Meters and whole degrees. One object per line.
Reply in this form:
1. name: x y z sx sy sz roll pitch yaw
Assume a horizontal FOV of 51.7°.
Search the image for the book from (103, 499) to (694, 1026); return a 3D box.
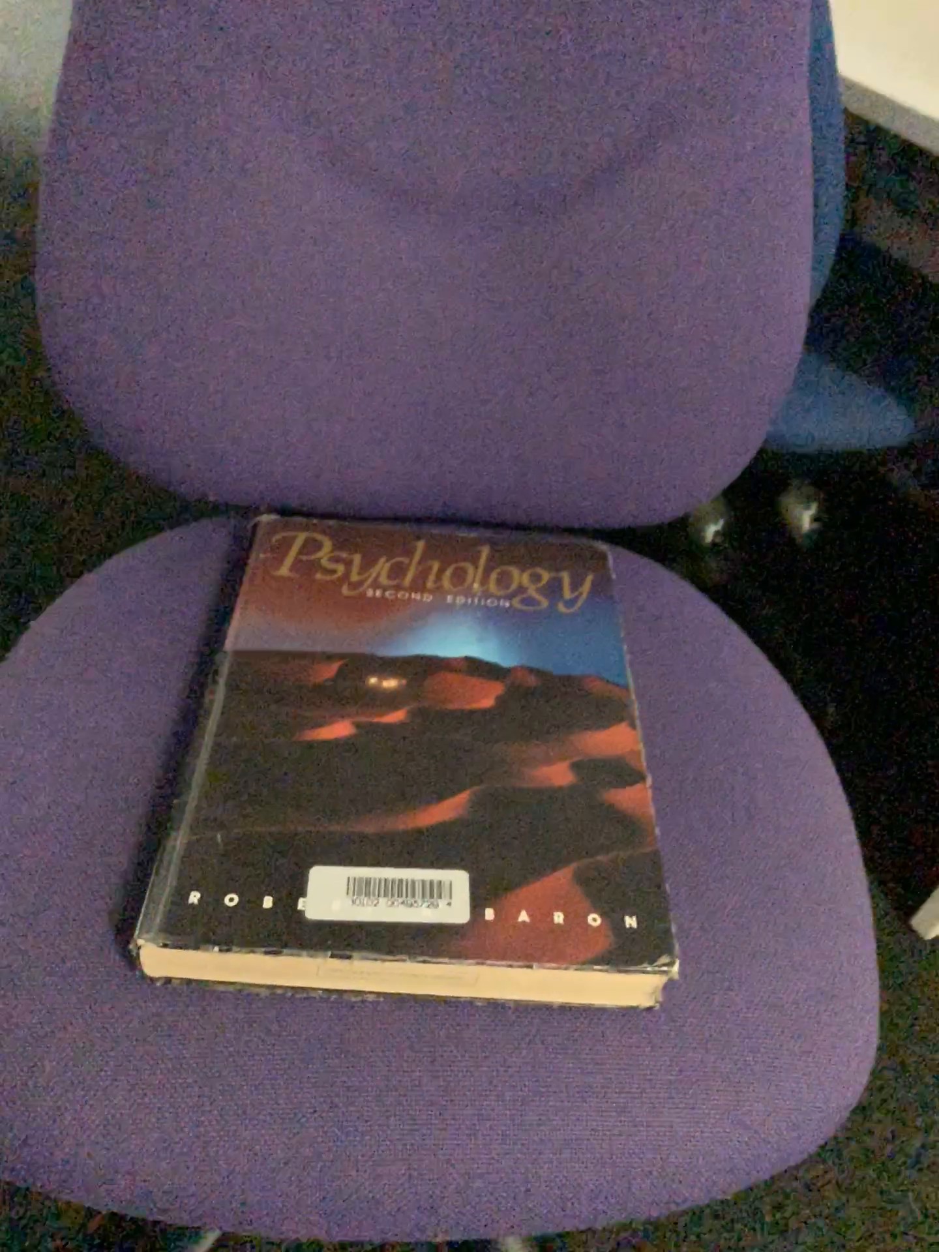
1. book: -0.026 0.047 0.492 0.230 0.040 0.282 5 44 -4
